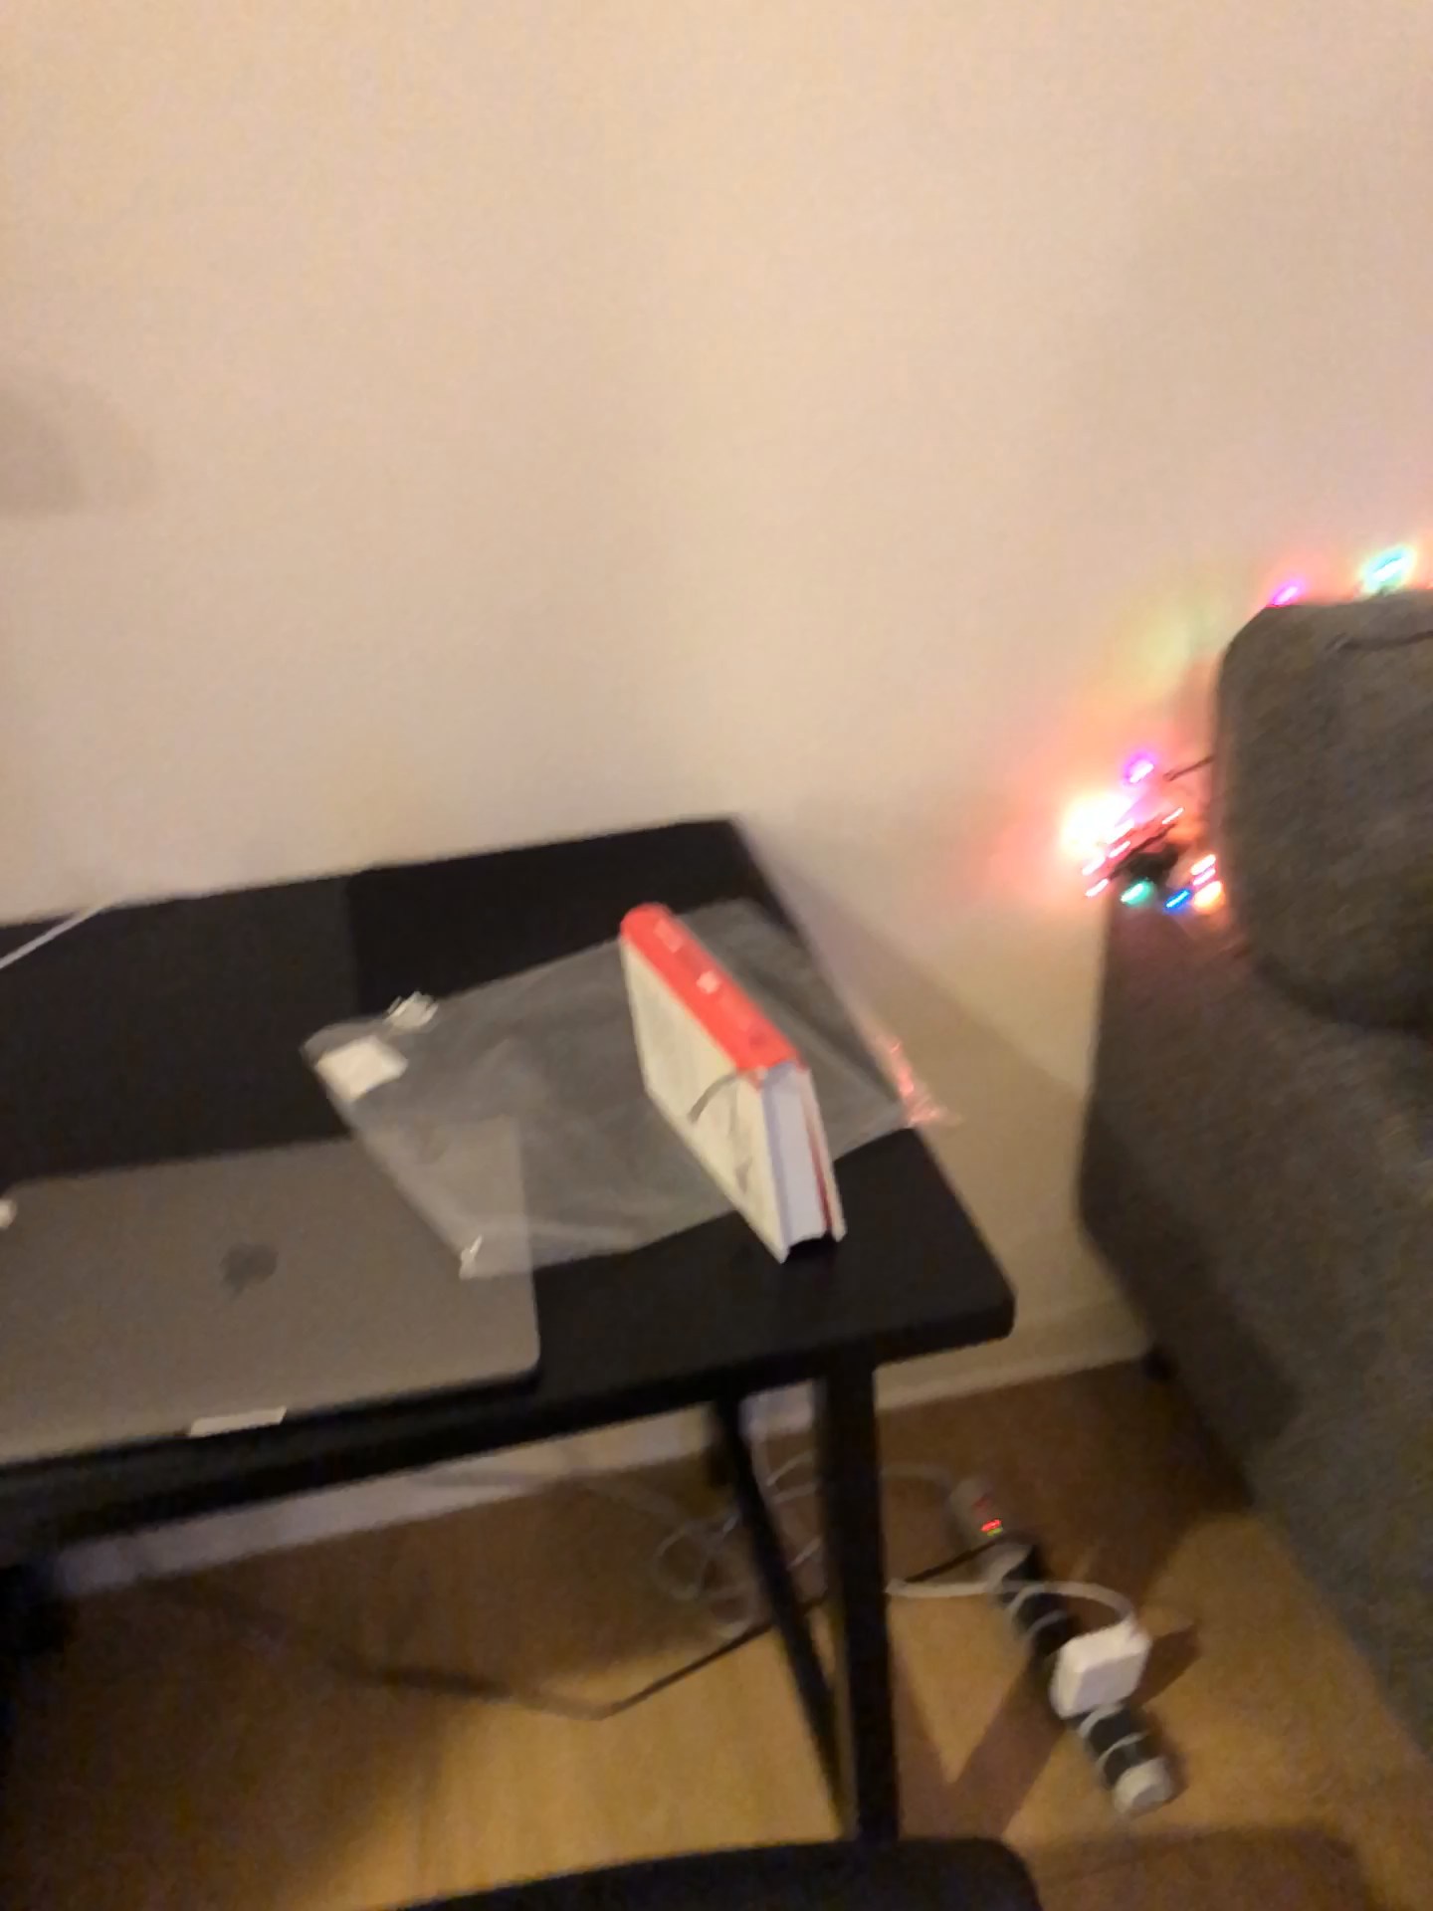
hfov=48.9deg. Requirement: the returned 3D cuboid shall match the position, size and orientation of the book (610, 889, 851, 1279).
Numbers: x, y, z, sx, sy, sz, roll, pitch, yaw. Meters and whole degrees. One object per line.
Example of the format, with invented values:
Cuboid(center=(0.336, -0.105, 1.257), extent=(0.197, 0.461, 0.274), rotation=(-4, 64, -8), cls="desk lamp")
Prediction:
Cuboid(center=(0.003, 0.067, 0.909), extent=(0.050, 0.129, 0.201), rotation=(-15, 34, -22), cls="book")
